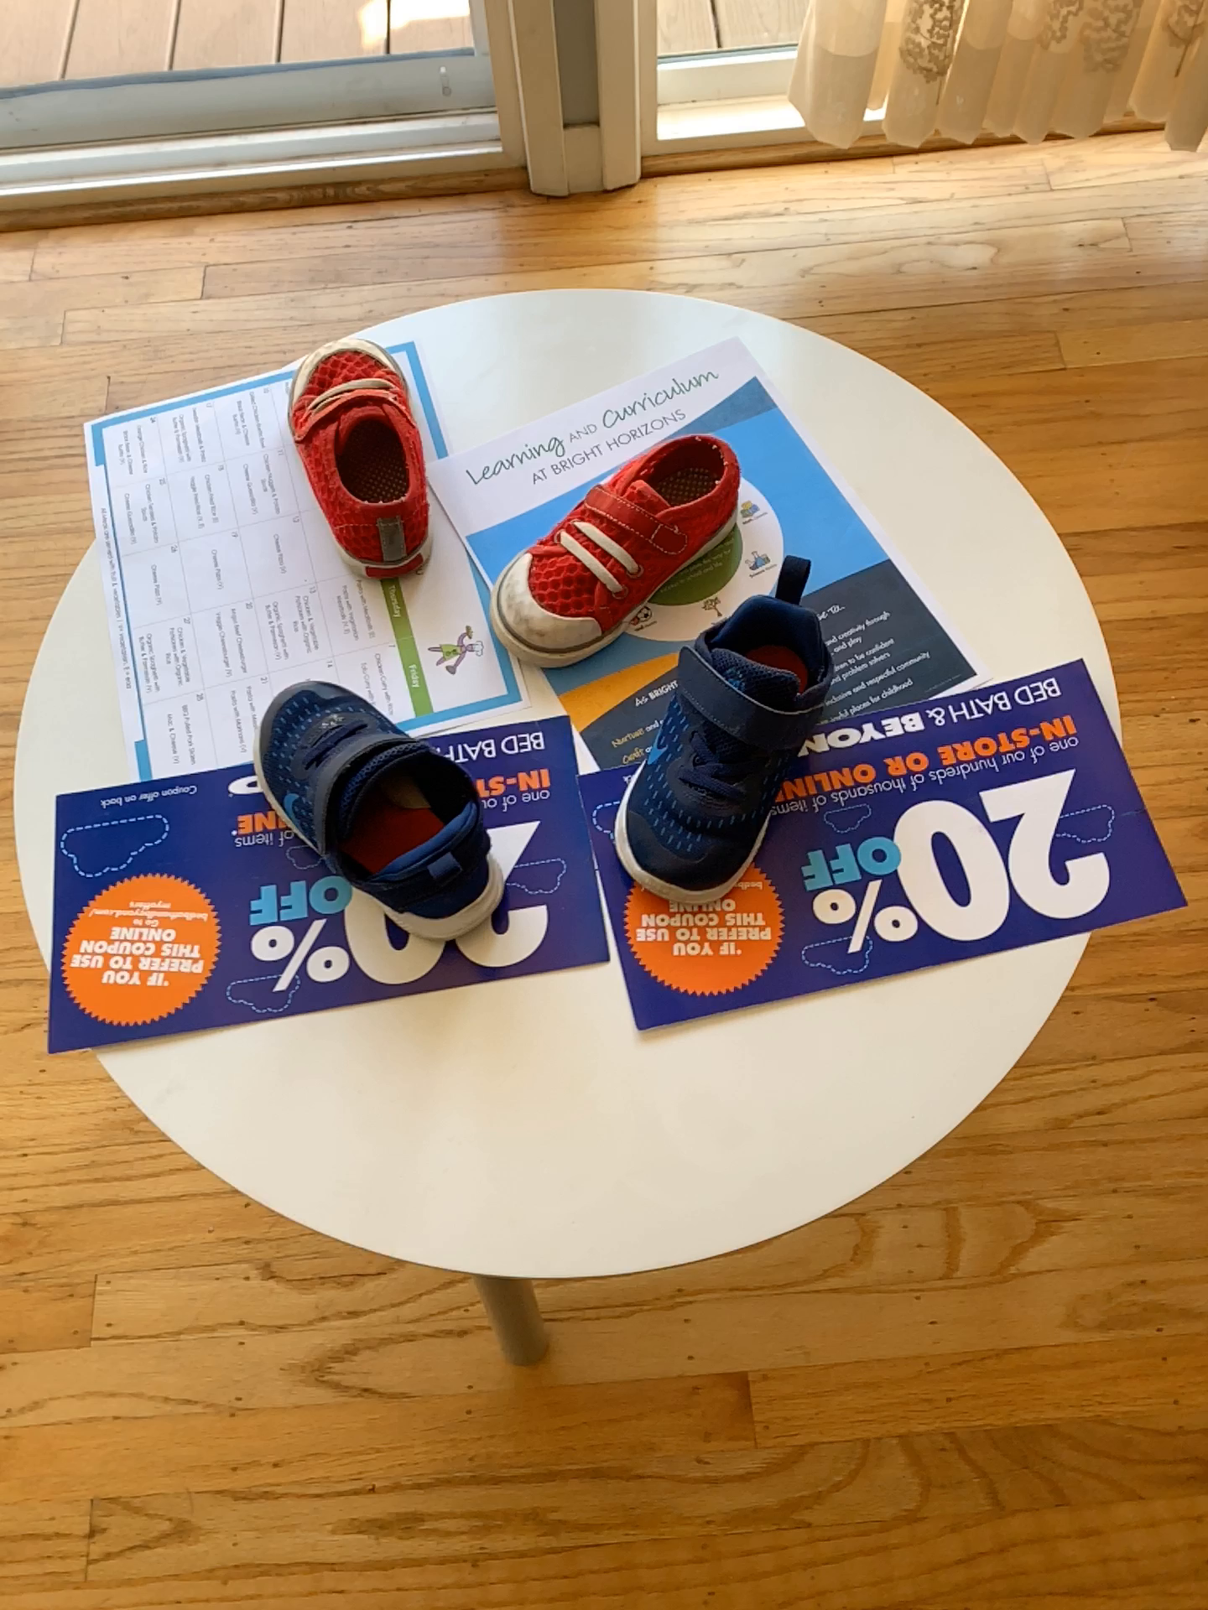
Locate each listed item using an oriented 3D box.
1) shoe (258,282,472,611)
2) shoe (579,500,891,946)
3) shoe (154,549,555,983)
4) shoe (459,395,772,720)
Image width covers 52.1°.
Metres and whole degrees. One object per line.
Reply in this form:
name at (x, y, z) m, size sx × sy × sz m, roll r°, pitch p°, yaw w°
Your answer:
shoe at (-0.134, -0.202, 0.693) m, size 0.070 × 0.070 × 0.160 m, roll -18°, pitch 65°, yaw -5°
shoe at (0.060, -0.036, 0.567) m, size 0.080 × 0.100 × 0.160 m, roll 20°, pitch 68°, yaw 12°
shoe at (-0.105, -0.016, 0.544) m, size 0.080 × 0.100 × 0.150 m, roll -40°, pitch 69°, yaw -15°
shoe at (0.008, -0.130, 0.649) m, size 0.160 × 0.070 × 0.060 m, roll -42°, pitch 70°, yaw -15°
